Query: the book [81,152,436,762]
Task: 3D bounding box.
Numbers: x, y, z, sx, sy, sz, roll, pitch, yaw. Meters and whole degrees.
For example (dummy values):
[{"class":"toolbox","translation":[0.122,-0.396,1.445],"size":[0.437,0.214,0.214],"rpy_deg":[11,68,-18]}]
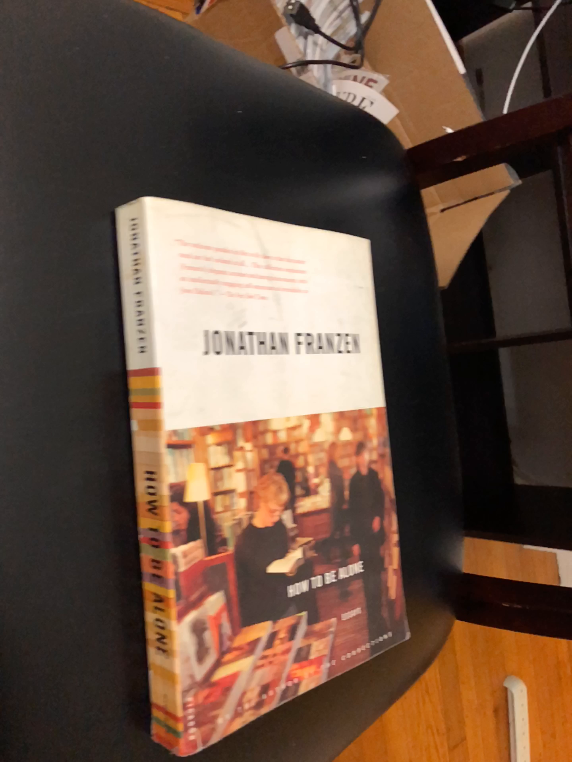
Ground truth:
[{"class":"book","translation":[-0.003,0.029,0.297],"size":[0.161,0.040,0.230],"rpy_deg":[-3,88,-41]}]
